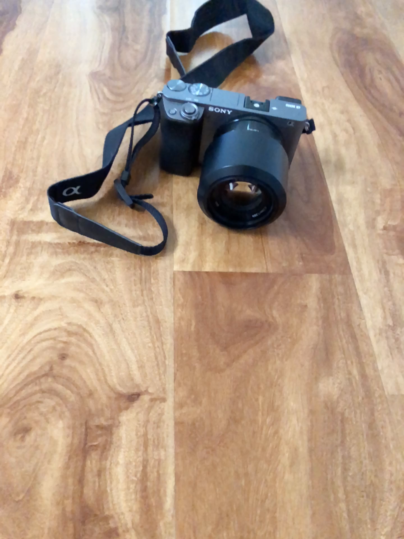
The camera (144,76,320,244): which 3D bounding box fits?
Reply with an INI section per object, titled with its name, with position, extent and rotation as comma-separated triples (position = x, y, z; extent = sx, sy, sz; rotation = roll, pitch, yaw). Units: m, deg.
[camera]
position = 0.025, -0.095, 0.386
extent = 0.130, 0.070, 0.110
rotation = 8, 53, -1
